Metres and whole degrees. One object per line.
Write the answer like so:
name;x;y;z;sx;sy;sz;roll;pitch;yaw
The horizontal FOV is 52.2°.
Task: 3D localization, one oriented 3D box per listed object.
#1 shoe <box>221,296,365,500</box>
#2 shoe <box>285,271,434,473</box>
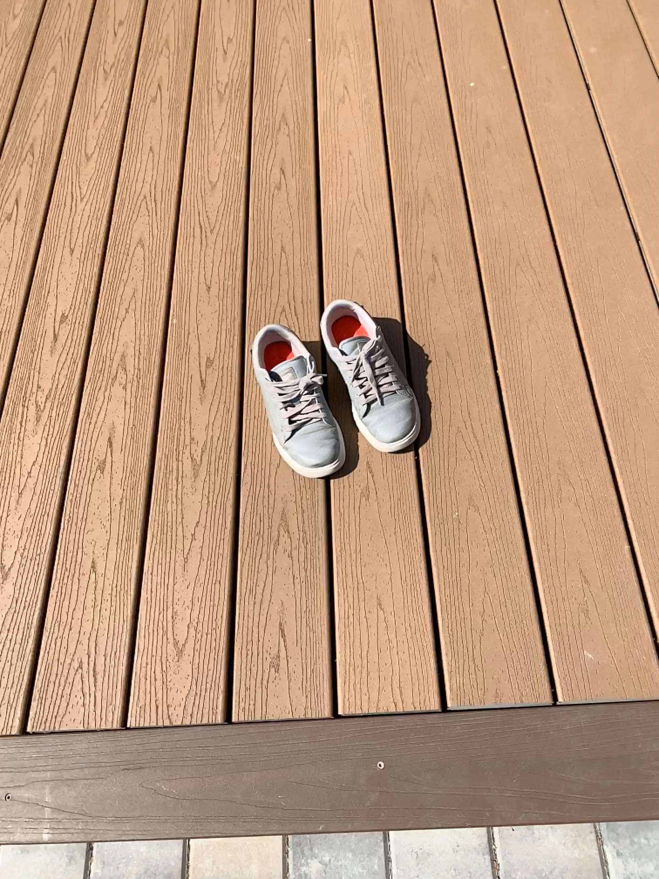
shoe;-0.058;-0.068;1.031;0.120;0.100;0.281;-21;61;-4
shoe;0.044;-0.110;1.058;0.120;0.100;0.291;-22;61;-5
